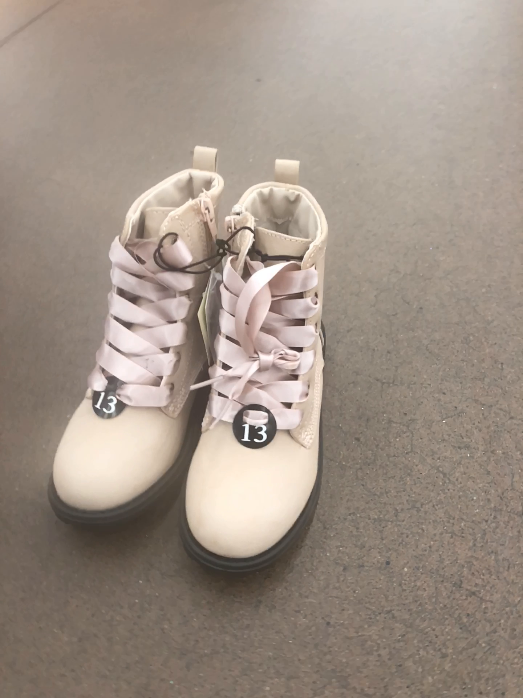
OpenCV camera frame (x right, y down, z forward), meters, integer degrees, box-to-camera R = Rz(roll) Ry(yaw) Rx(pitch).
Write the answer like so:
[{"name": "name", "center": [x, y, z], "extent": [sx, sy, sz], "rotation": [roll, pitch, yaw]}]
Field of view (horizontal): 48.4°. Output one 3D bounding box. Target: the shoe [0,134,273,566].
[{"name": "shoe", "center": [-0.073, -0.007, 0.376], "extent": [0.090, 0.150, 0.221], "rotation": [15, 52, 14]}]

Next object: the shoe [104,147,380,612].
[{"name": "shoe", "center": [0.006, 0.011, 0.347], "extent": [0.090, 0.150, 0.221], "rotation": [8, 51, 8]}]
